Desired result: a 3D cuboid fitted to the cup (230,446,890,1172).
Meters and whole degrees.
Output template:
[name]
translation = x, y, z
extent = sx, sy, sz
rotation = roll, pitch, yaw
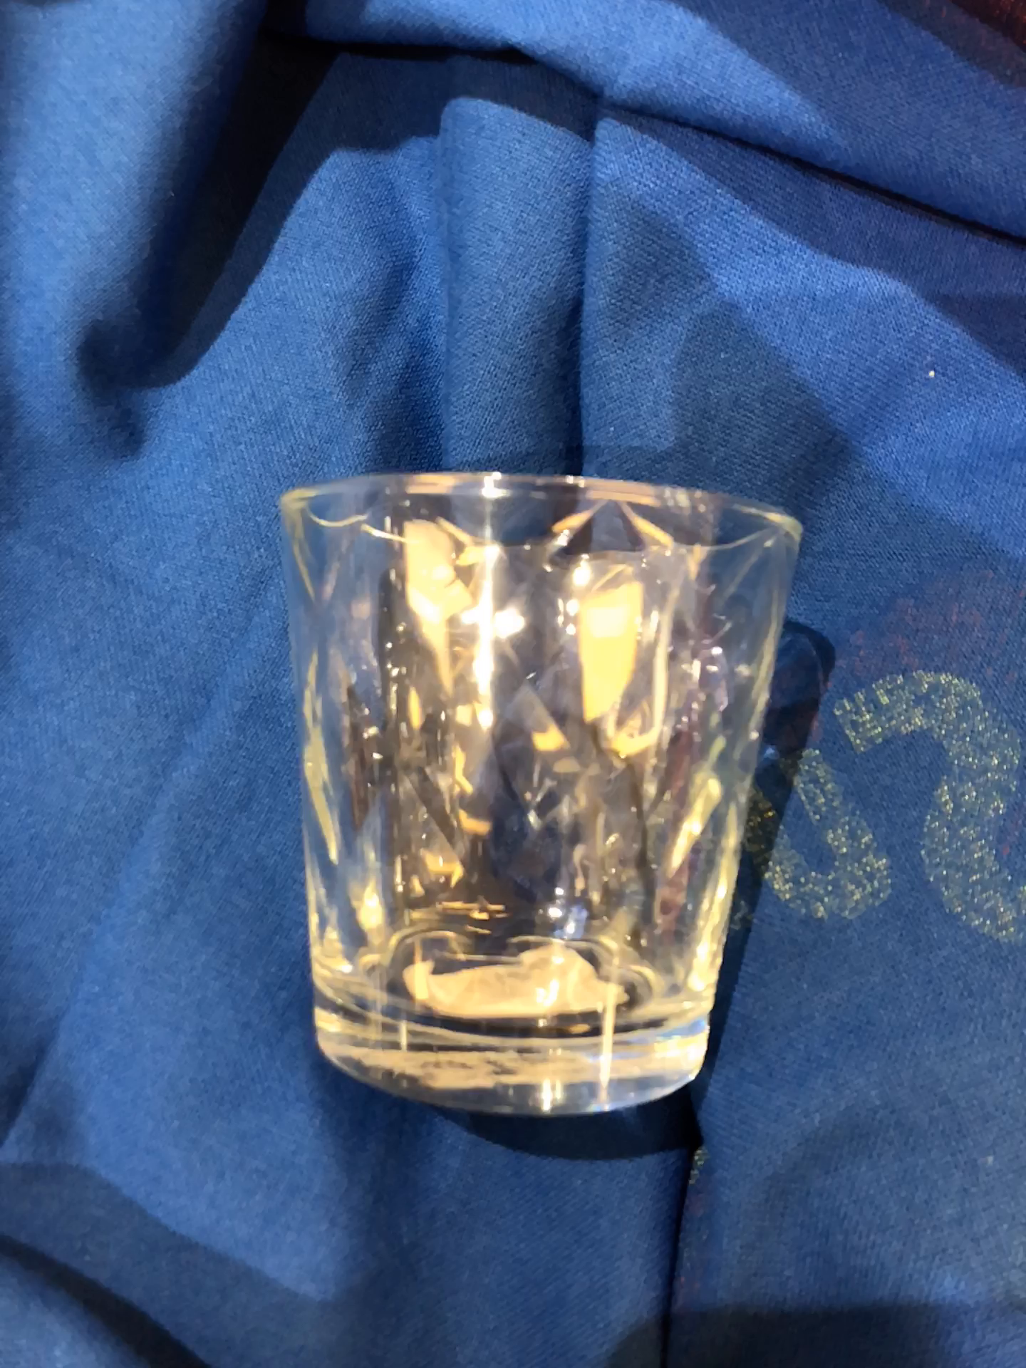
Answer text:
[cup]
translation = 0.006, 0.014, 0.181
extent = 0.080, 0.070, 0.090
rotation = 3, 95, 2
